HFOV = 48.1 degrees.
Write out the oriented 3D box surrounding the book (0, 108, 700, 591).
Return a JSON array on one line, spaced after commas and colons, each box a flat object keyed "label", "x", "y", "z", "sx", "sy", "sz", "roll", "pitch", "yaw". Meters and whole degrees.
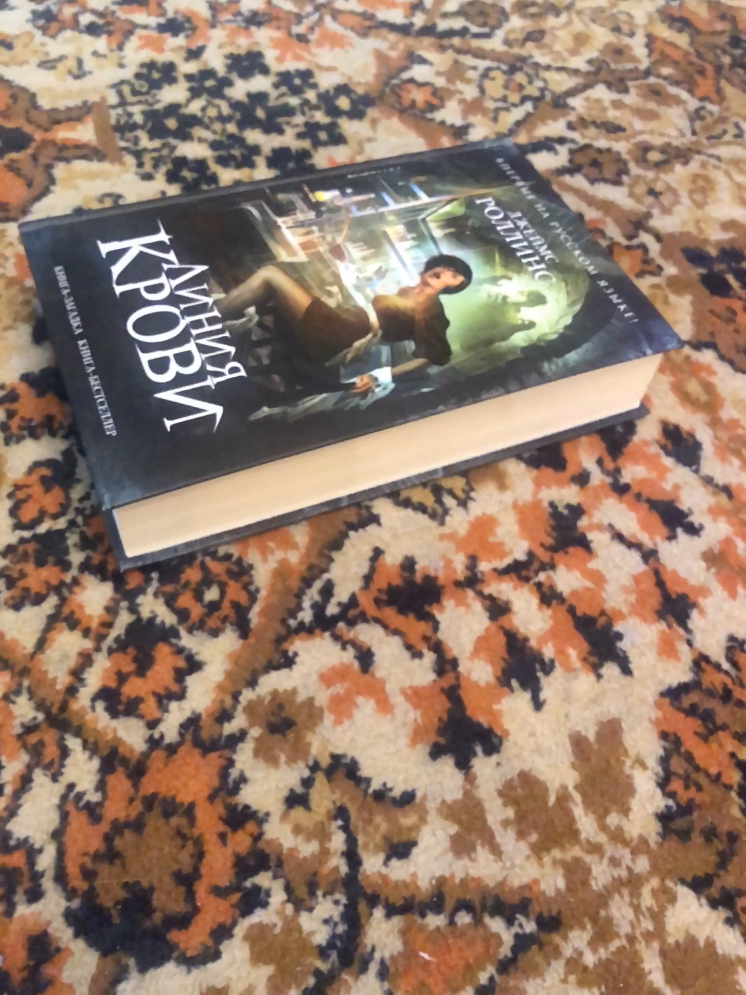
[{"label": "book", "x": -0.019, "y": -0.074, "z": 0.324, "sx": 0.226, "sy": 0.040, "sz": 0.159, "roll": -17, "pitch": 58, "yaw": -17}]
